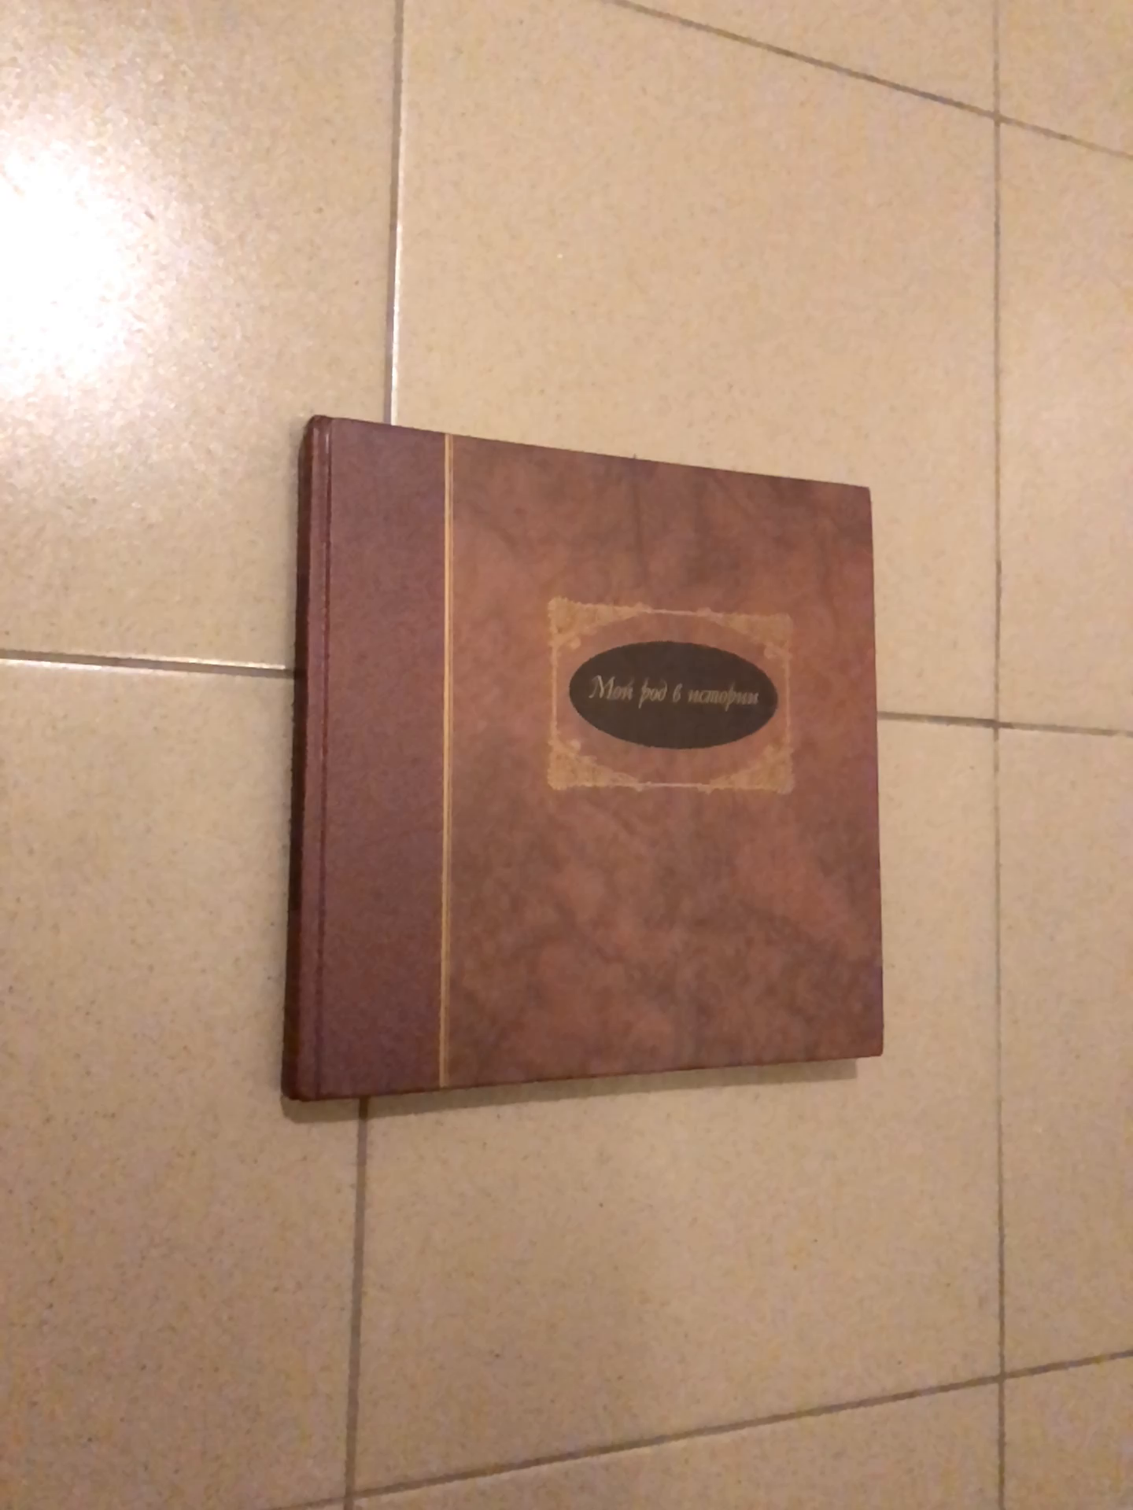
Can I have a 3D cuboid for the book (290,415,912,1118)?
[{"bbox_3d":[0.017,0.004,0.491,0.244,0.038,0.244,1,84,-21],"label":"book"}]
